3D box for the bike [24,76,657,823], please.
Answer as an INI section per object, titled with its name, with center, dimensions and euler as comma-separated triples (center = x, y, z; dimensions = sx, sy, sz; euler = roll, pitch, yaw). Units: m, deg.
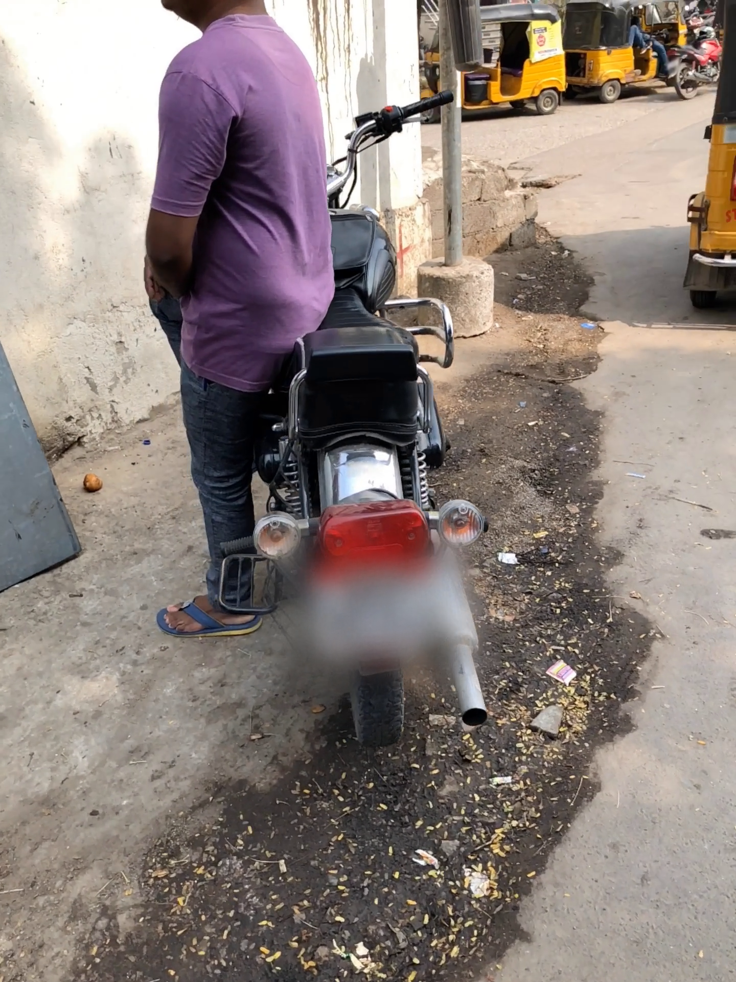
[bike]
center = -0.198, -0.350, 2.176
dimensions = 0.839, 1.173, 1.930
euler = -9, 32, -7
